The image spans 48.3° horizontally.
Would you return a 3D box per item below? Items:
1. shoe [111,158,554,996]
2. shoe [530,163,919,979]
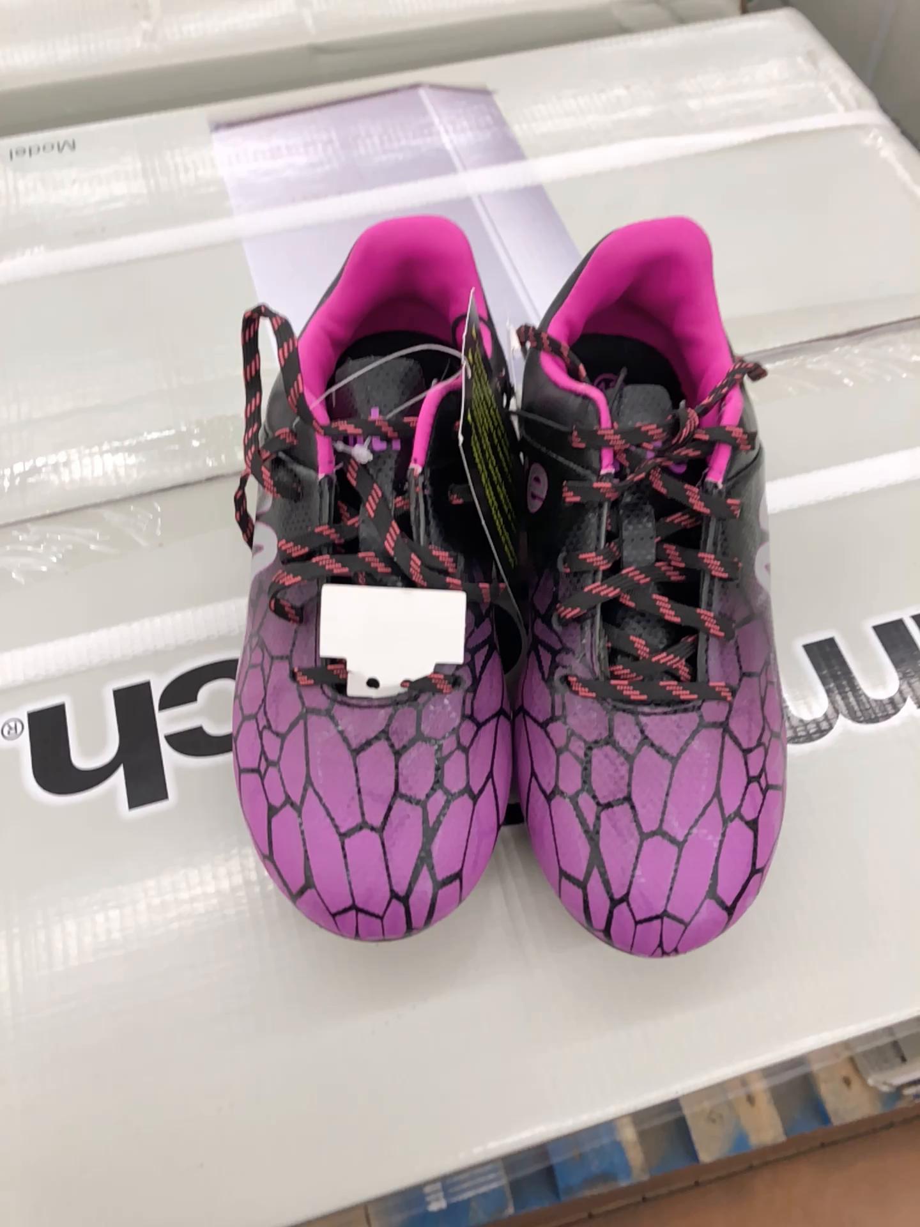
[{"bbox_3d":[-0.021,-0.017,0.272,0.080,0.080,0.210,1,60,1],"label":"shoe"},{"bbox_3d":[0.065,-0.019,0.277,0.080,0.080,0.210,0,60,0],"label":"shoe"}]
